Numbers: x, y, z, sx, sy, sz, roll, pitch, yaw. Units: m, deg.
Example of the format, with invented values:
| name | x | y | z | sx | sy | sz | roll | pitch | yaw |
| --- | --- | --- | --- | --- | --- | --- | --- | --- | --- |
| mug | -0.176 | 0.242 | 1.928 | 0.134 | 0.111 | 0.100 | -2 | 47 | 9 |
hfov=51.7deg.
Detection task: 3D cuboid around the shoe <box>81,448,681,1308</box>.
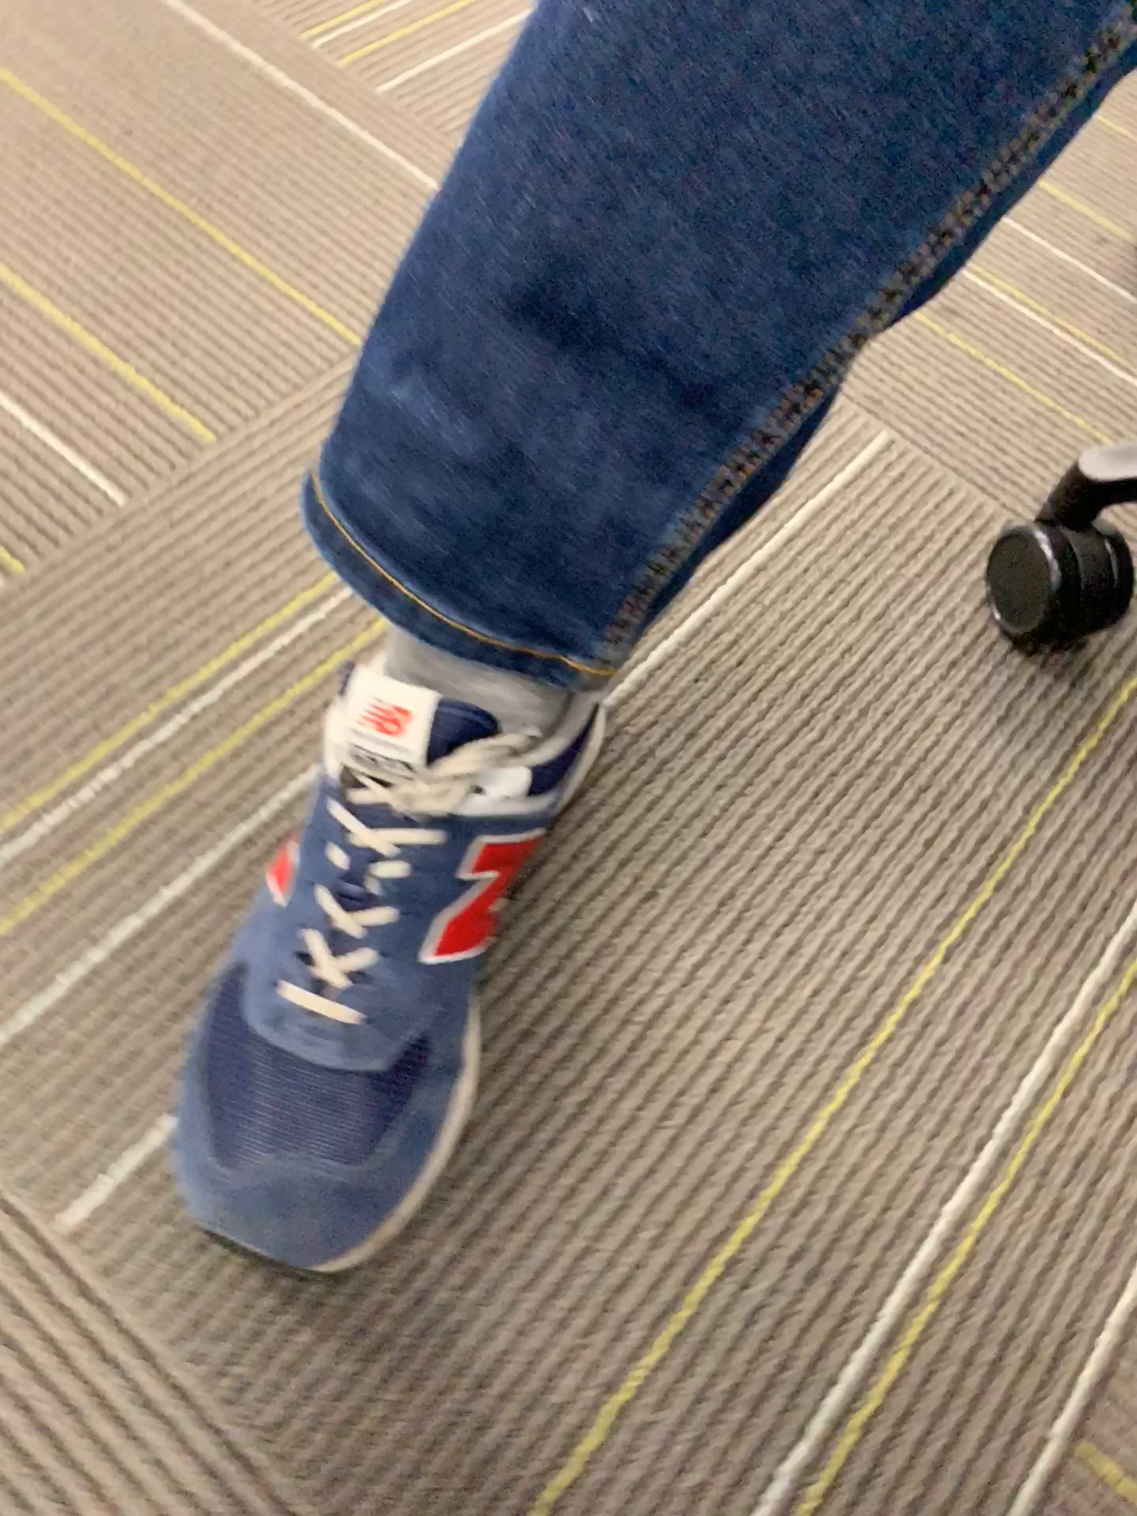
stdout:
| name | x | y | z | sx | sy | sz | roll | pitch | yaw |
| --- | --- | --- | --- | --- | --- | --- | --- | --- | --- |
| shoe | -0.059 | 0.043 | 0.485 | 0.108 | 0.139 | 0.308 | 19 | 60 | 2 |
